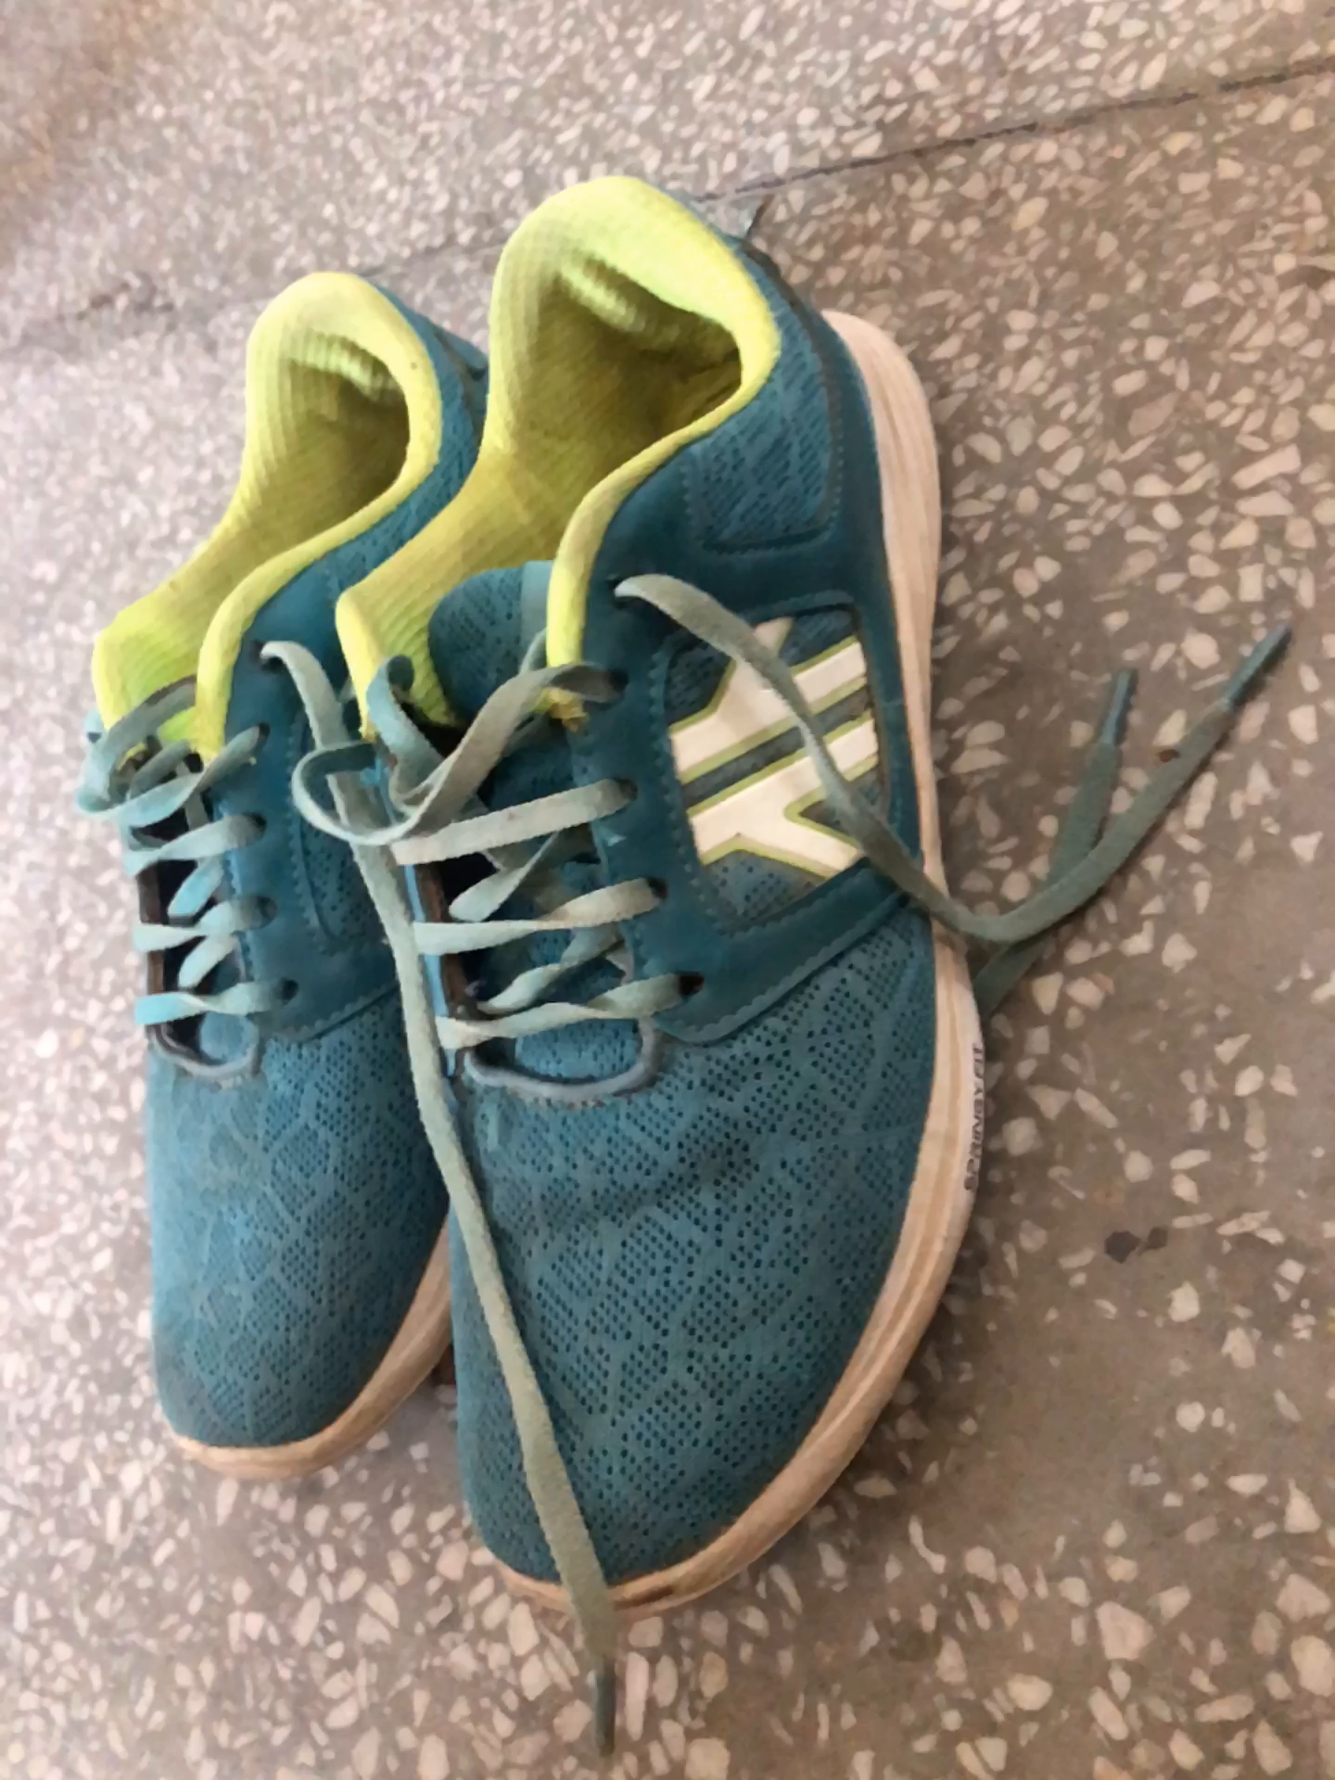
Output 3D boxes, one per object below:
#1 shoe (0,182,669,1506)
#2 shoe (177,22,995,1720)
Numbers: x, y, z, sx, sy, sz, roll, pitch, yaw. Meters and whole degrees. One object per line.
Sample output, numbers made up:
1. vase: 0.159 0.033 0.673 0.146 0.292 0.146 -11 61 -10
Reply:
1. shoe: -0.077 -0.009 0.312 0.090 0.080 0.240 -5 67 36
2. shoe: -0.006 -0.006 0.272 0.101 0.080 0.250 -7 72 35
